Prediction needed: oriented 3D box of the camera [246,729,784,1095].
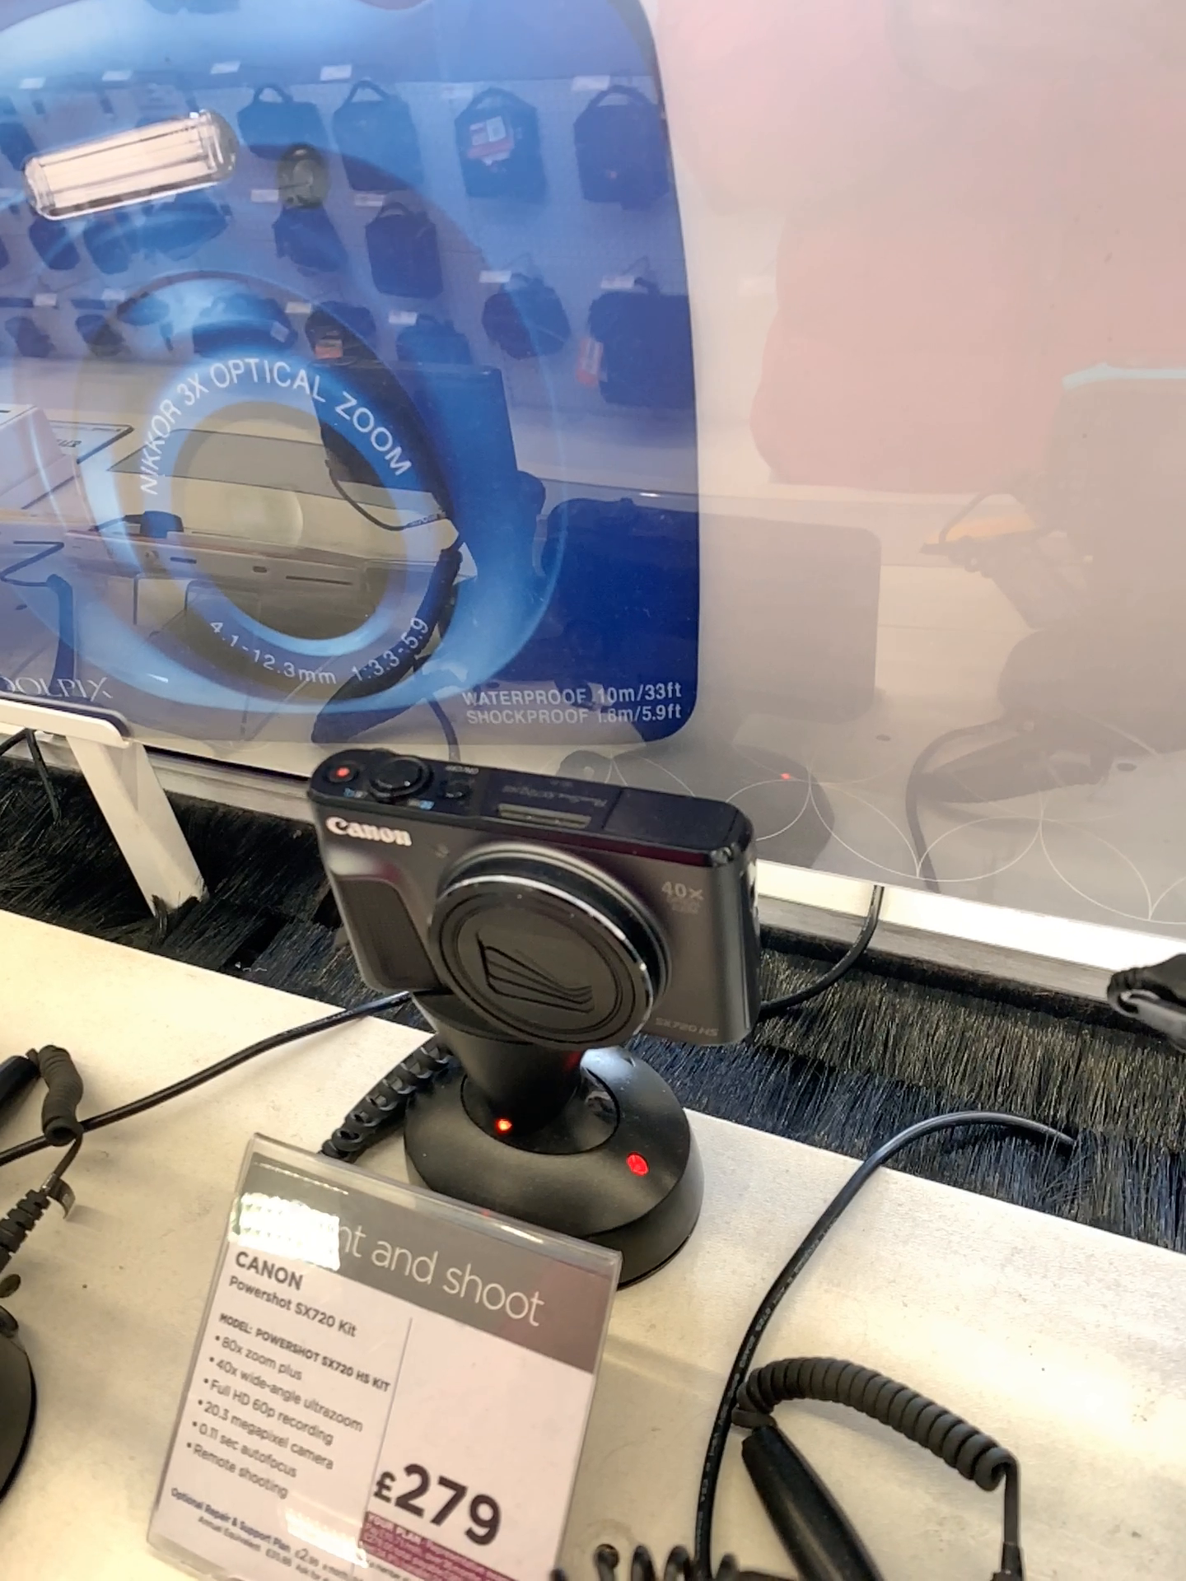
[{"bbox_3d":[-0.016,0.026,0.280,0.113,0.061,0.031,9,42,21],"label":"camera"}]
